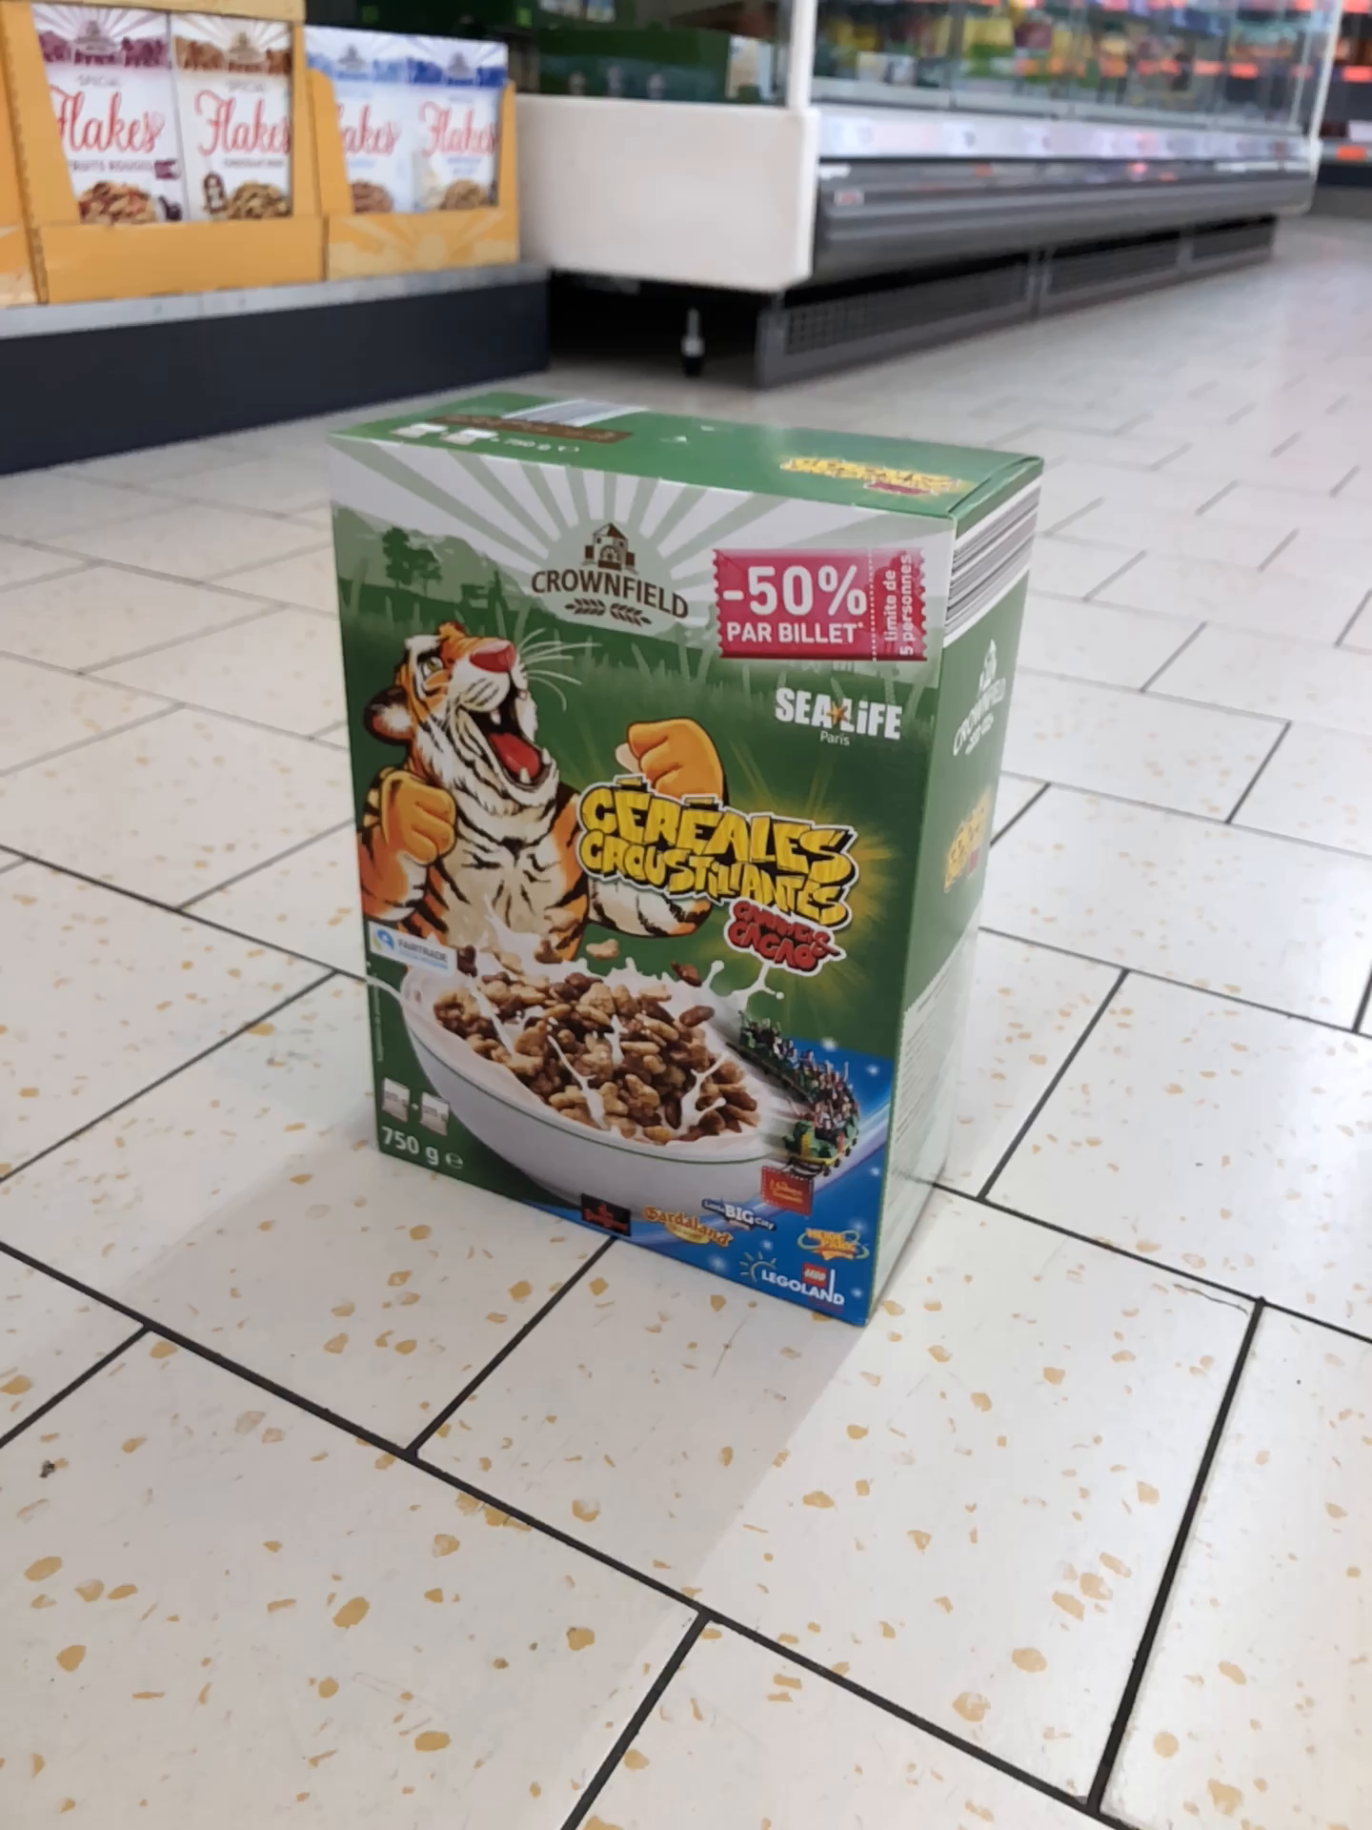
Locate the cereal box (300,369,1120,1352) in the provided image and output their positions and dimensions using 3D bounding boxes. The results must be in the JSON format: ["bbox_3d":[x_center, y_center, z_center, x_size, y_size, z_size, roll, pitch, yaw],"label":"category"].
[{"bbox_3d":[0.003,-0.026,0.496,0.210,0.259,0.111,14,29,21],"label":"cereal box"}]
